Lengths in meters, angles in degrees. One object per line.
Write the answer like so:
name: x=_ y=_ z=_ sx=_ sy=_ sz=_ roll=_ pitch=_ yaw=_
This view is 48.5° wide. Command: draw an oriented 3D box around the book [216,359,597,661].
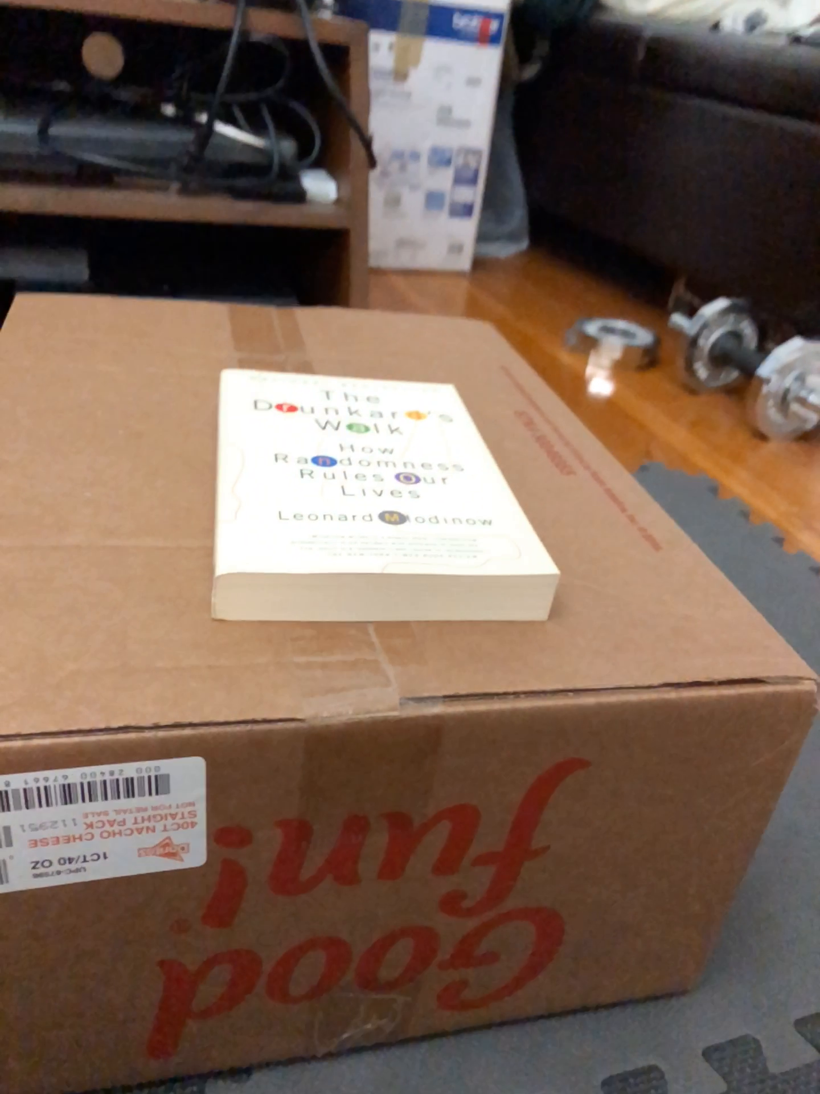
book: x=-0.018 y=-0.029 z=0.426 sx=0.140 sy=0.040 sz=0.211 roll=0 pitch=31 yaw=-12
